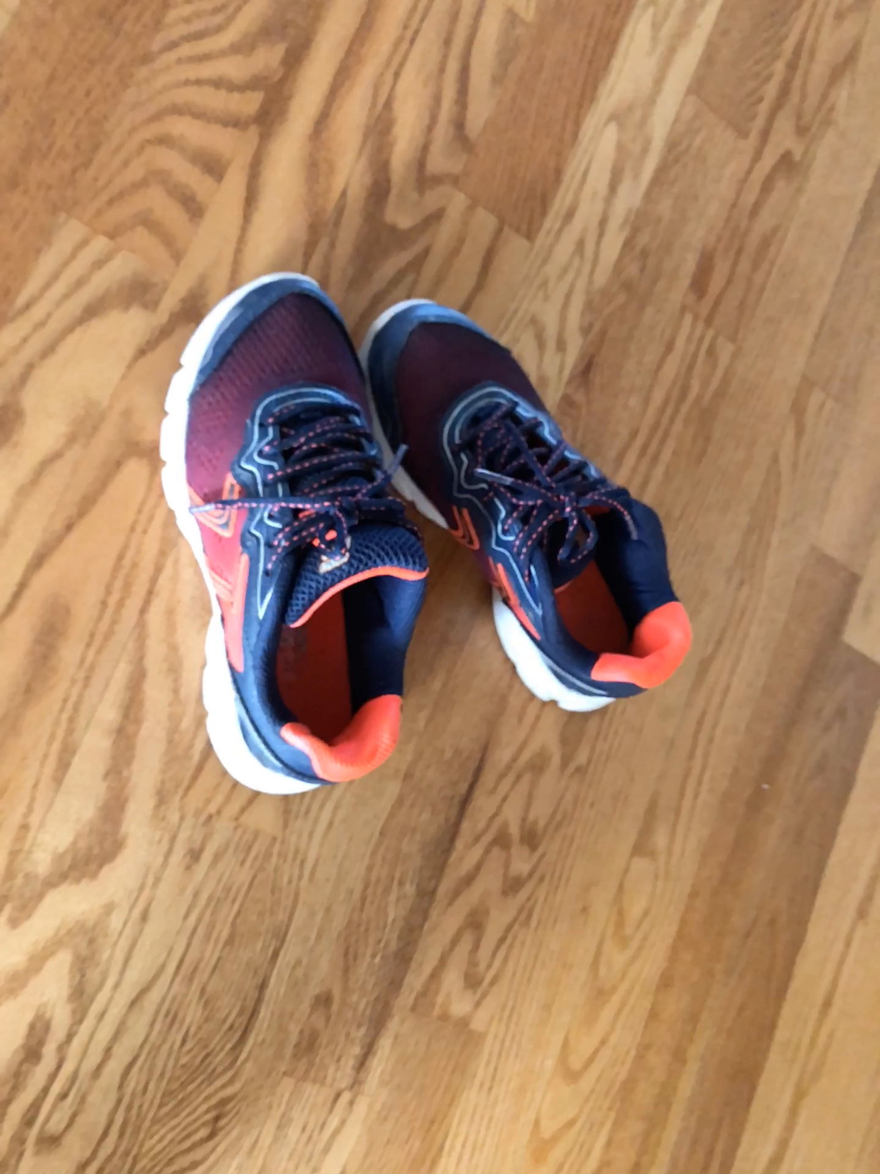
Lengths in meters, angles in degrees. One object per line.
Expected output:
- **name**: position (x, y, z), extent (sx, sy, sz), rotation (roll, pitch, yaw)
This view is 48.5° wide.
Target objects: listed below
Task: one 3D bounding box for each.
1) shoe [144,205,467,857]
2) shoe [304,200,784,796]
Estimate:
- **shoe**: position (-0.069, -0.025, 0.476), extent (0.108, 0.109, 0.270), rotation (-5, 91, -26)
- **shoe**: position (0.058, -0.042, 0.539), extent (0.116, 0.109, 0.277), rotation (-34, 104, -23)
